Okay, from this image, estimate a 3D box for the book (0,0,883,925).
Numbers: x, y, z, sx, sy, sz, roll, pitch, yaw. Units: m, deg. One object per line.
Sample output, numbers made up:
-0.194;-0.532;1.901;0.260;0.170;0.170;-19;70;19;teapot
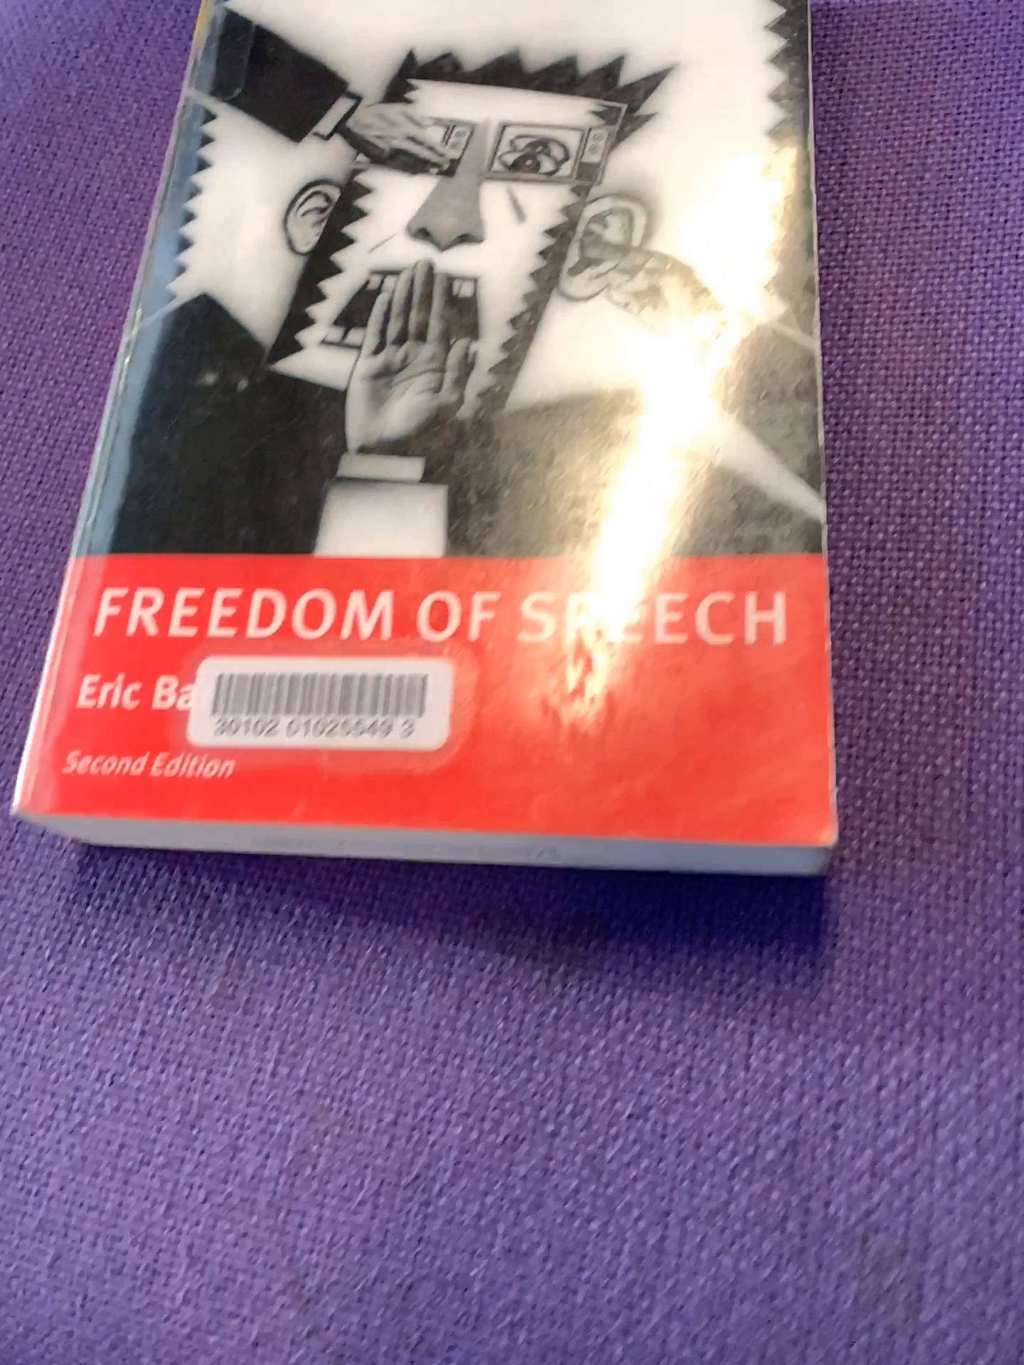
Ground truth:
-0.007;-0.077;0.253;0.160;0.050;0.251;1;68;8;book
